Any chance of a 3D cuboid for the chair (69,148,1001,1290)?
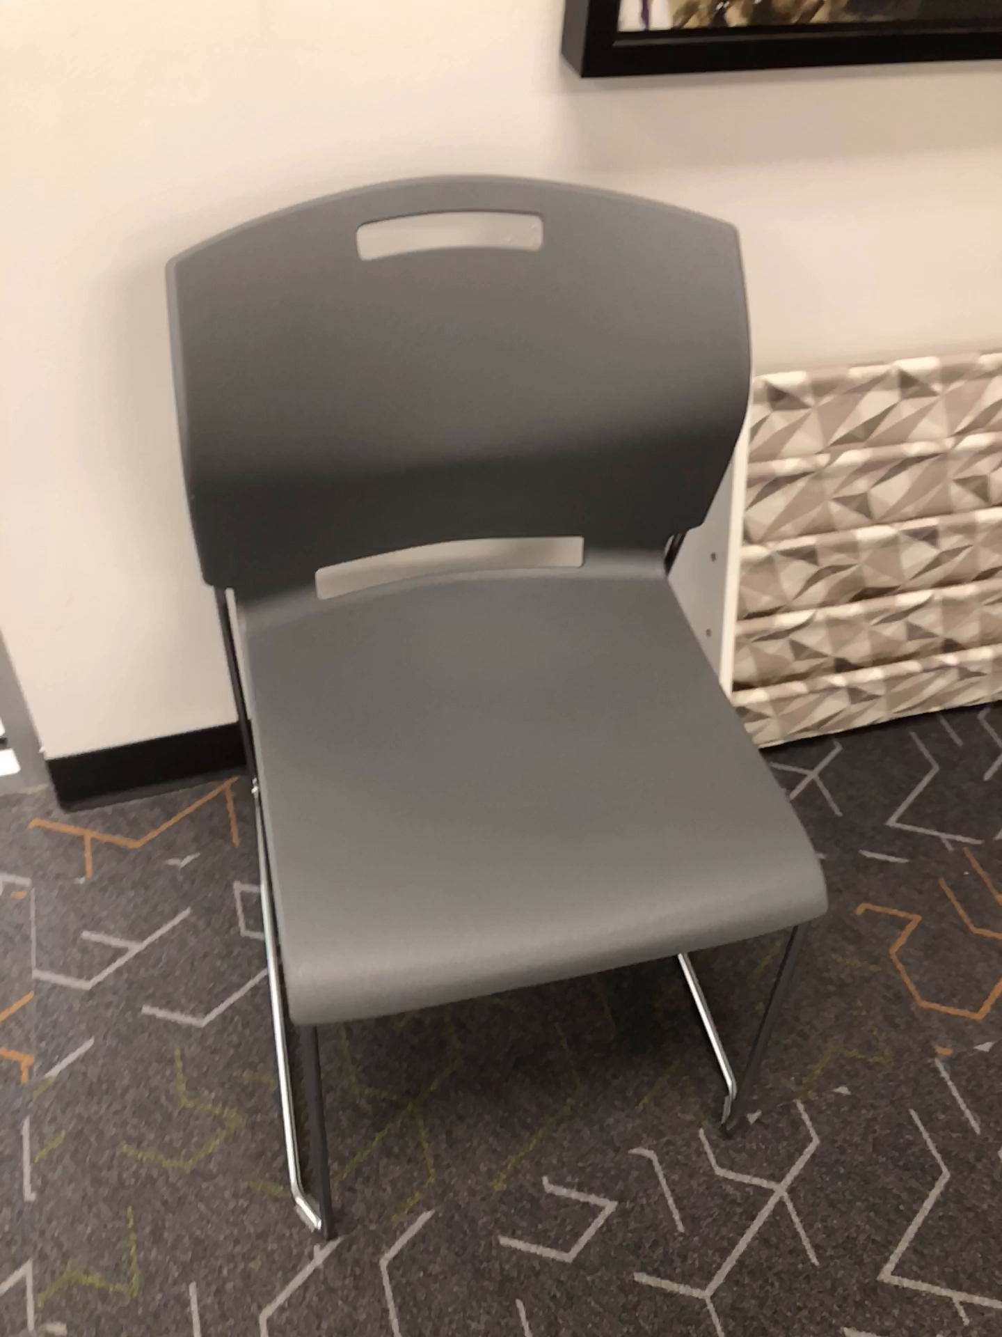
[{"bbox_3d":[-0.018,0.037,1.034,0.580,0.735,0.674,-9,48,-13],"label":"chair"}]
